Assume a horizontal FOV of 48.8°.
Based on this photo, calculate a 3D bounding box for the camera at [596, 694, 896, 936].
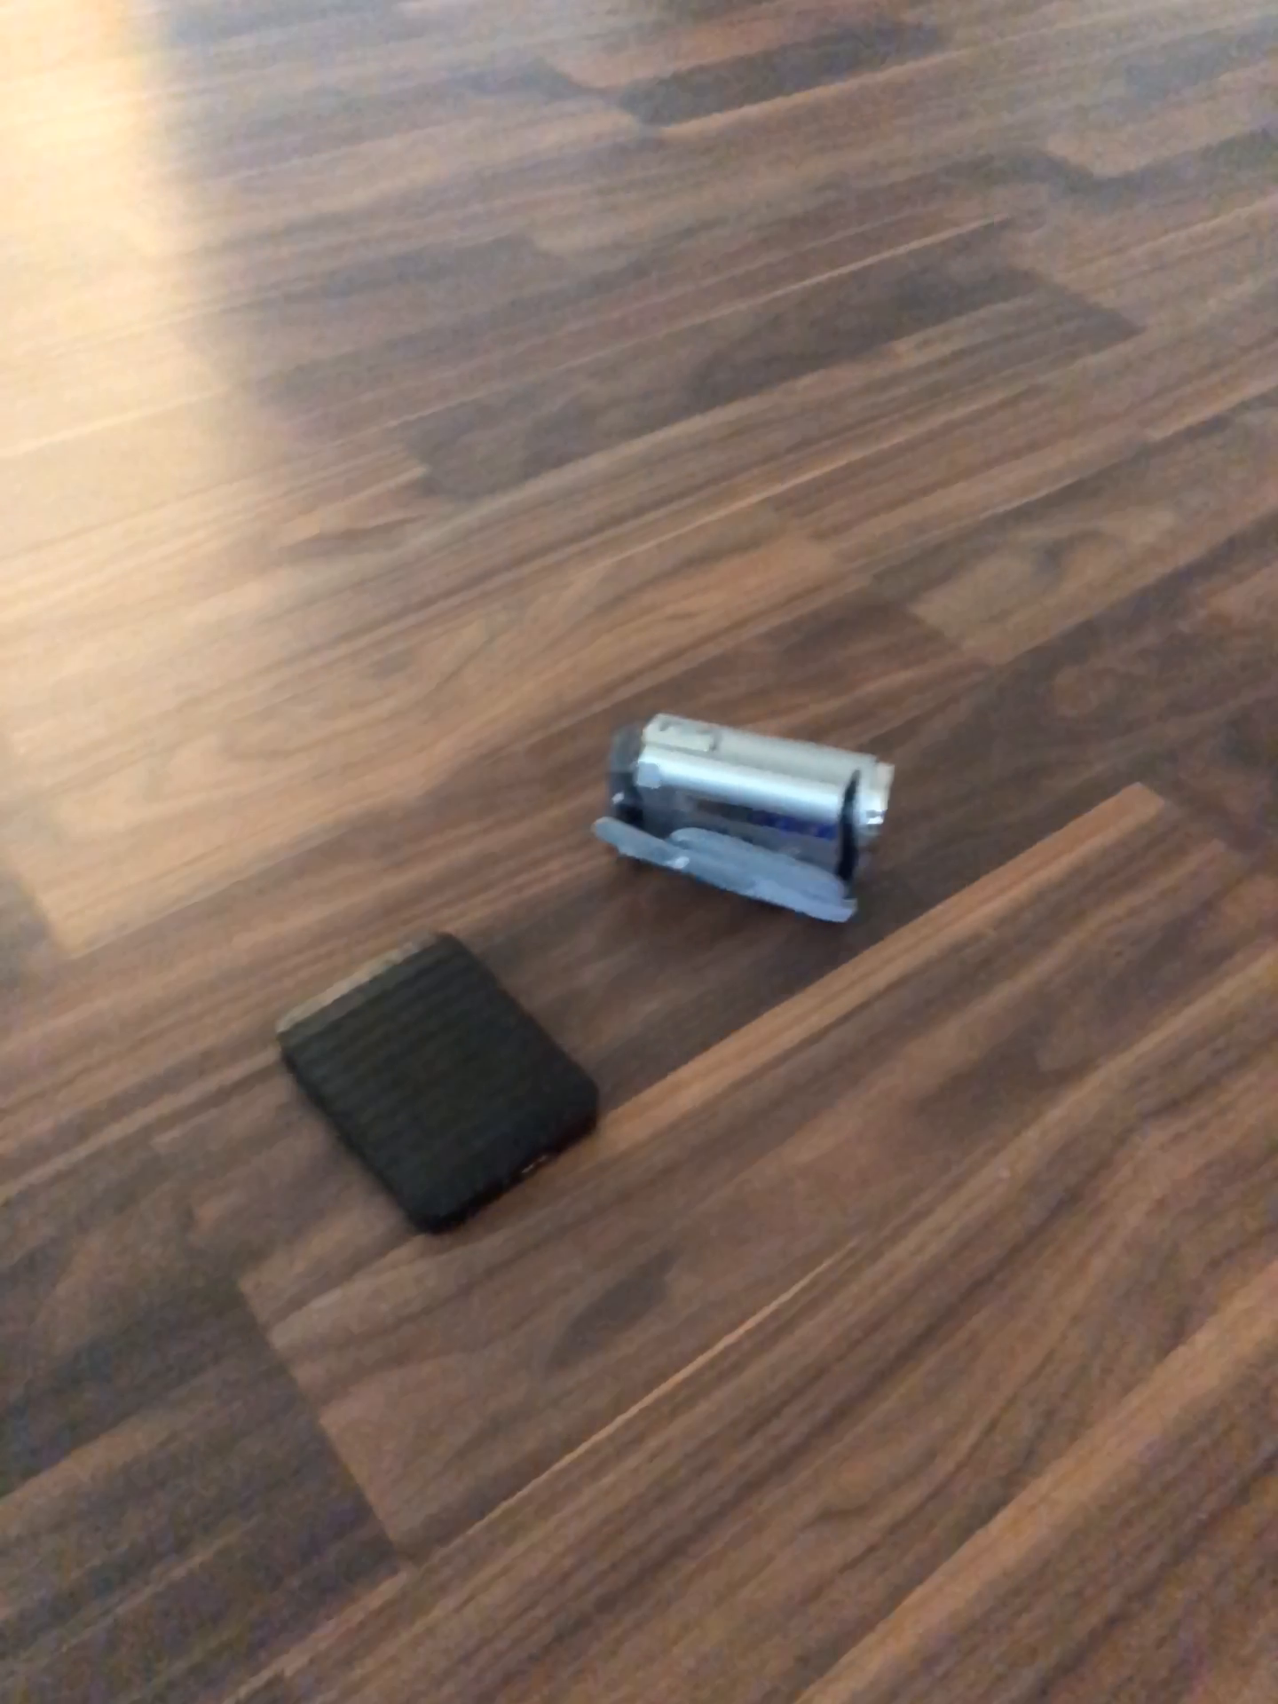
[{"bbox_3d":[0.044,-0.016,0.606,0.115,0.065,0.048,14,47,10],"label":"camera"}]
